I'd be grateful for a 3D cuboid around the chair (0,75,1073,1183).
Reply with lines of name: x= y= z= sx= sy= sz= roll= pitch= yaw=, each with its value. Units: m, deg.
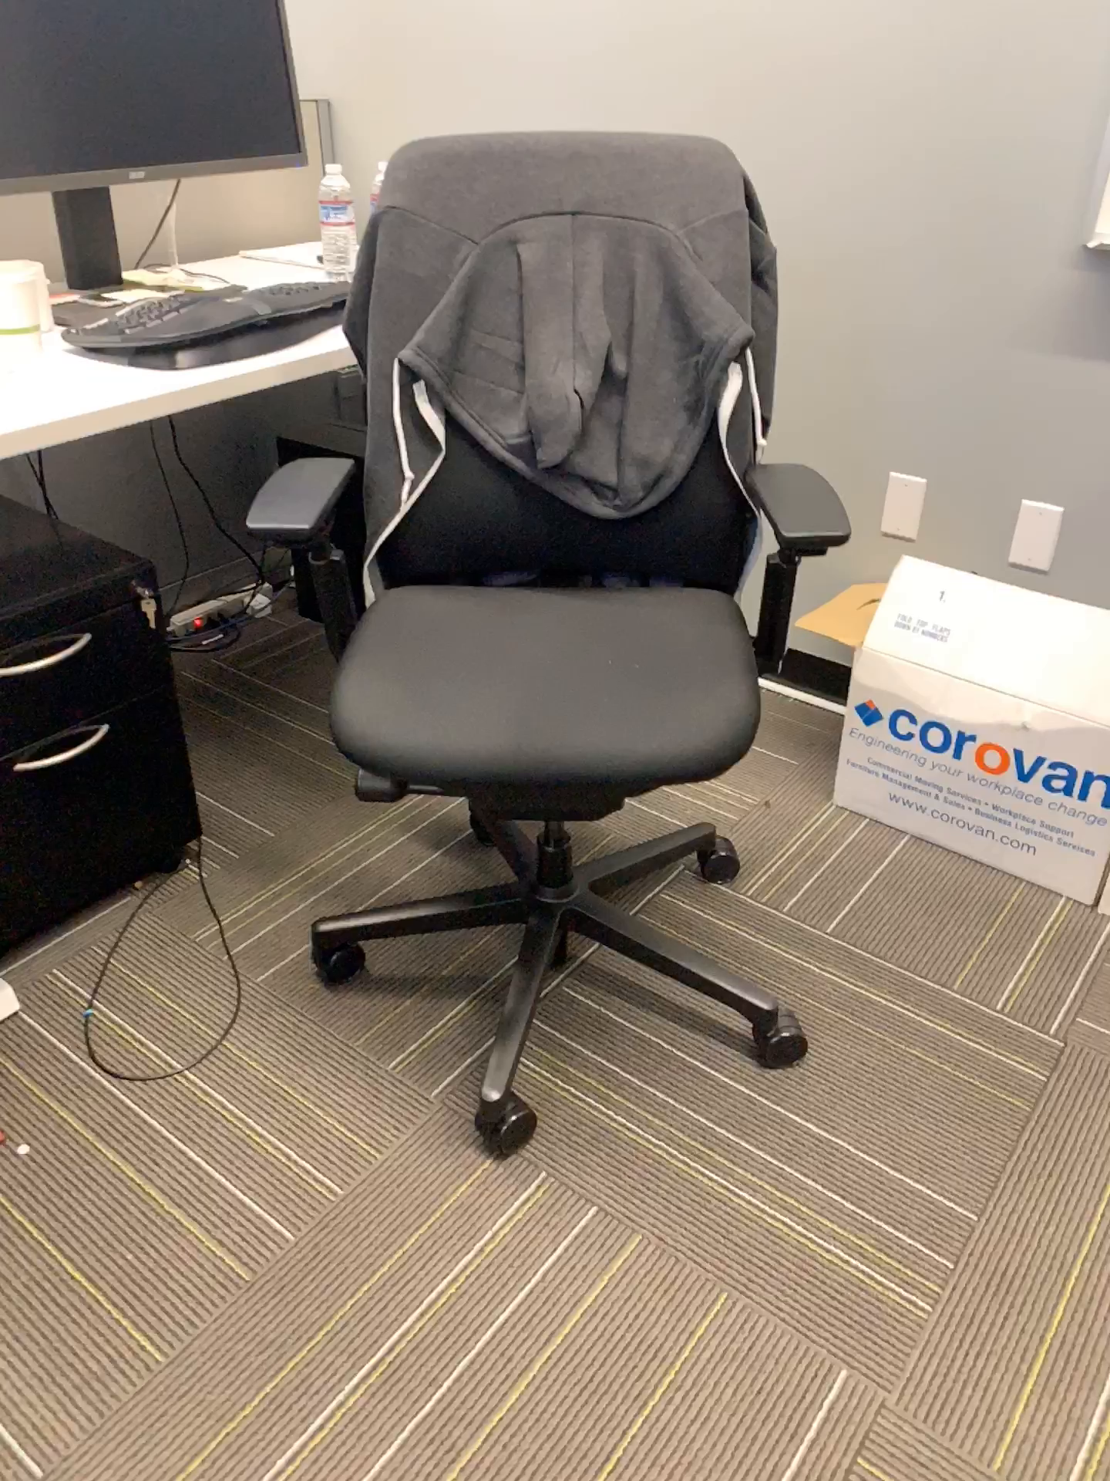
chair: x=-0.011 y=-0.197 z=1.423 sx=0.750 sy=1.073 sz=0.886 roll=3 pitch=31 yaw=3
